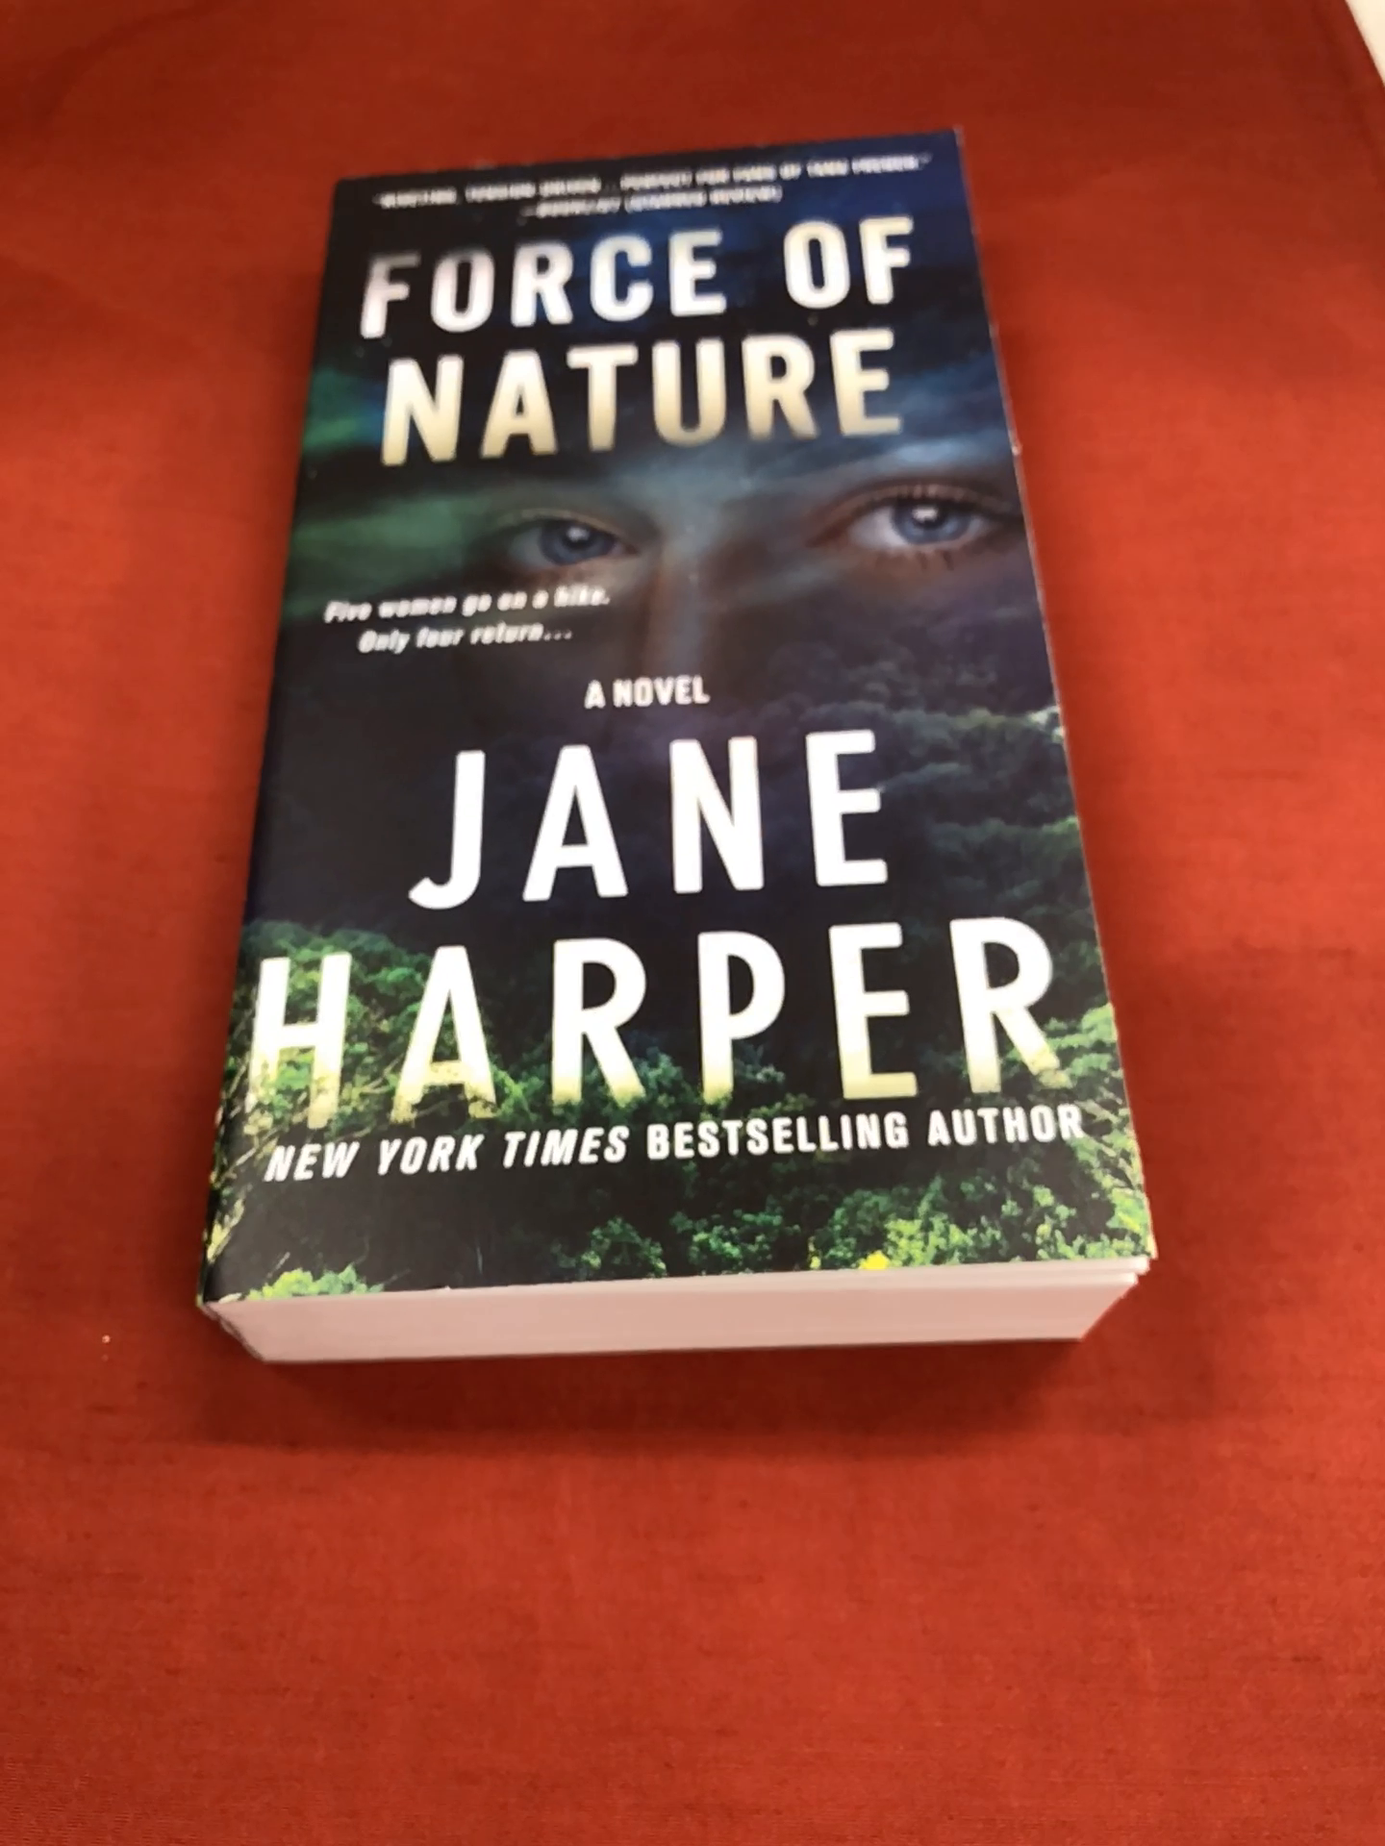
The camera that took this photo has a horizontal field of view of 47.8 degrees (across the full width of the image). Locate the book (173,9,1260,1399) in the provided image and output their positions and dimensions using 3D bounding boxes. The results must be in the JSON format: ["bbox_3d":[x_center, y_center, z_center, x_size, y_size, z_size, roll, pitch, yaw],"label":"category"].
[{"bbox_3d":[-0.003,-0.035,0.215,0.110,0.050,0.181,-5,68,1],"label":"book"}]
